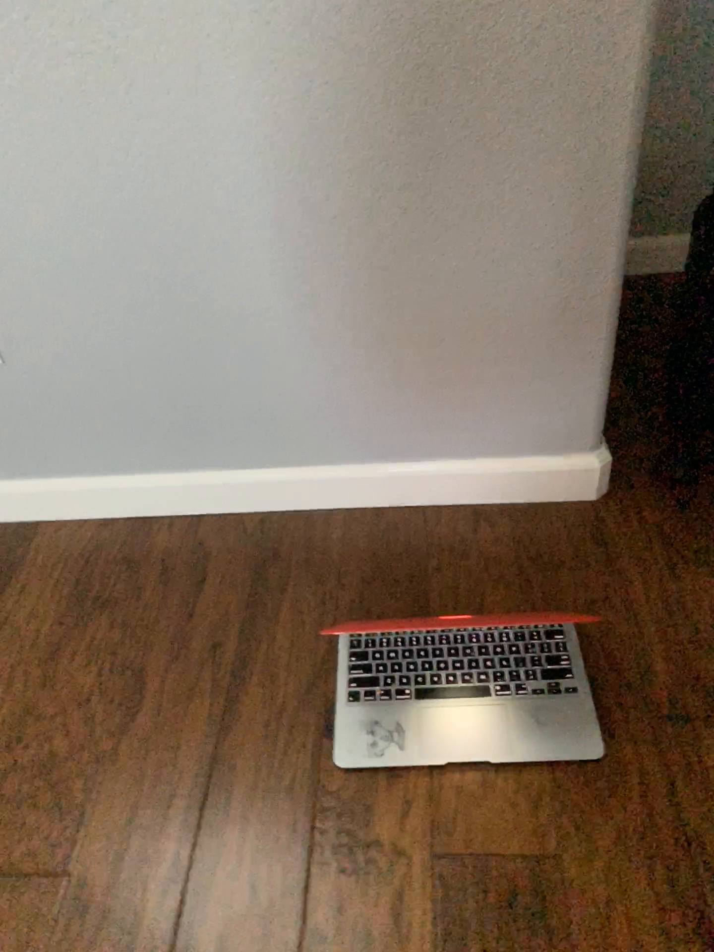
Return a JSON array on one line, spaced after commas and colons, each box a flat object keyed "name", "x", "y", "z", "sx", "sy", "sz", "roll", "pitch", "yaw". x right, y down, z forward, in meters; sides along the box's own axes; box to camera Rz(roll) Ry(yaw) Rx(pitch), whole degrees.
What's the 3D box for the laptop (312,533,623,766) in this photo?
[{"name": "laptop", "x": 0.114, "y": 0.193, "z": 0.832, "sx": 0.301, "sy": 0.139, "sz": 0.199, "roll": -4, "pitch": 39, "yaw": 4}]
